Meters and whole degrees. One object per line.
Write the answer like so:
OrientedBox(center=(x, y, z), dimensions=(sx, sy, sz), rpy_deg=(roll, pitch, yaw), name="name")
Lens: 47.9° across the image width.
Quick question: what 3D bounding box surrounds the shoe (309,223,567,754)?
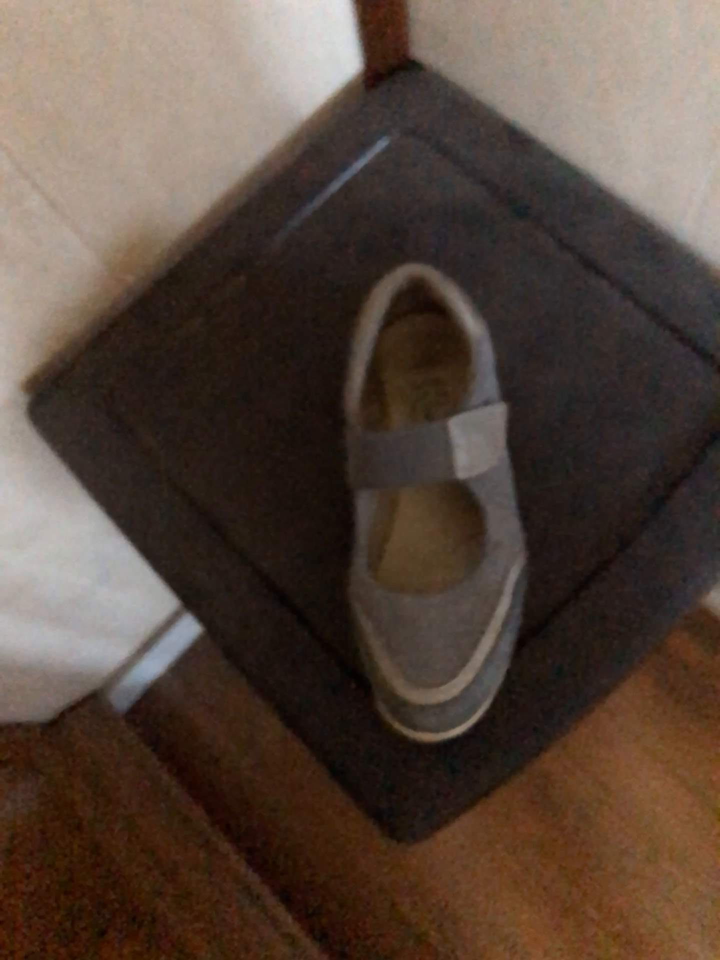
OrientedBox(center=(0.037, 0.005, 0.432), dimensions=(0.110, 0.080, 0.260), rpy_deg=(-4, 74, 8), name="shoe")
